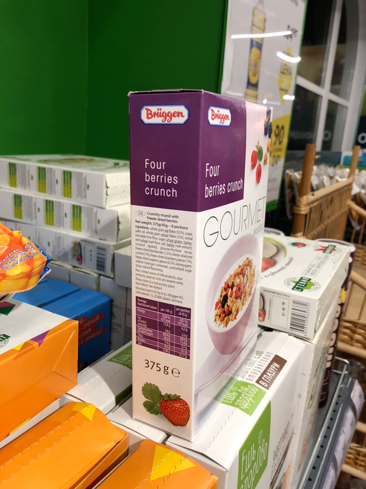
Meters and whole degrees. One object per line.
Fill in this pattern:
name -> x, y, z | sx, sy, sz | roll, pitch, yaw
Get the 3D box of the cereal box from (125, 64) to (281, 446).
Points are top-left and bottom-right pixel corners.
cereal box -> 0.022, 0.000, 0.297 | 0.050, 0.219, 0.140 | 8, 16, 26
